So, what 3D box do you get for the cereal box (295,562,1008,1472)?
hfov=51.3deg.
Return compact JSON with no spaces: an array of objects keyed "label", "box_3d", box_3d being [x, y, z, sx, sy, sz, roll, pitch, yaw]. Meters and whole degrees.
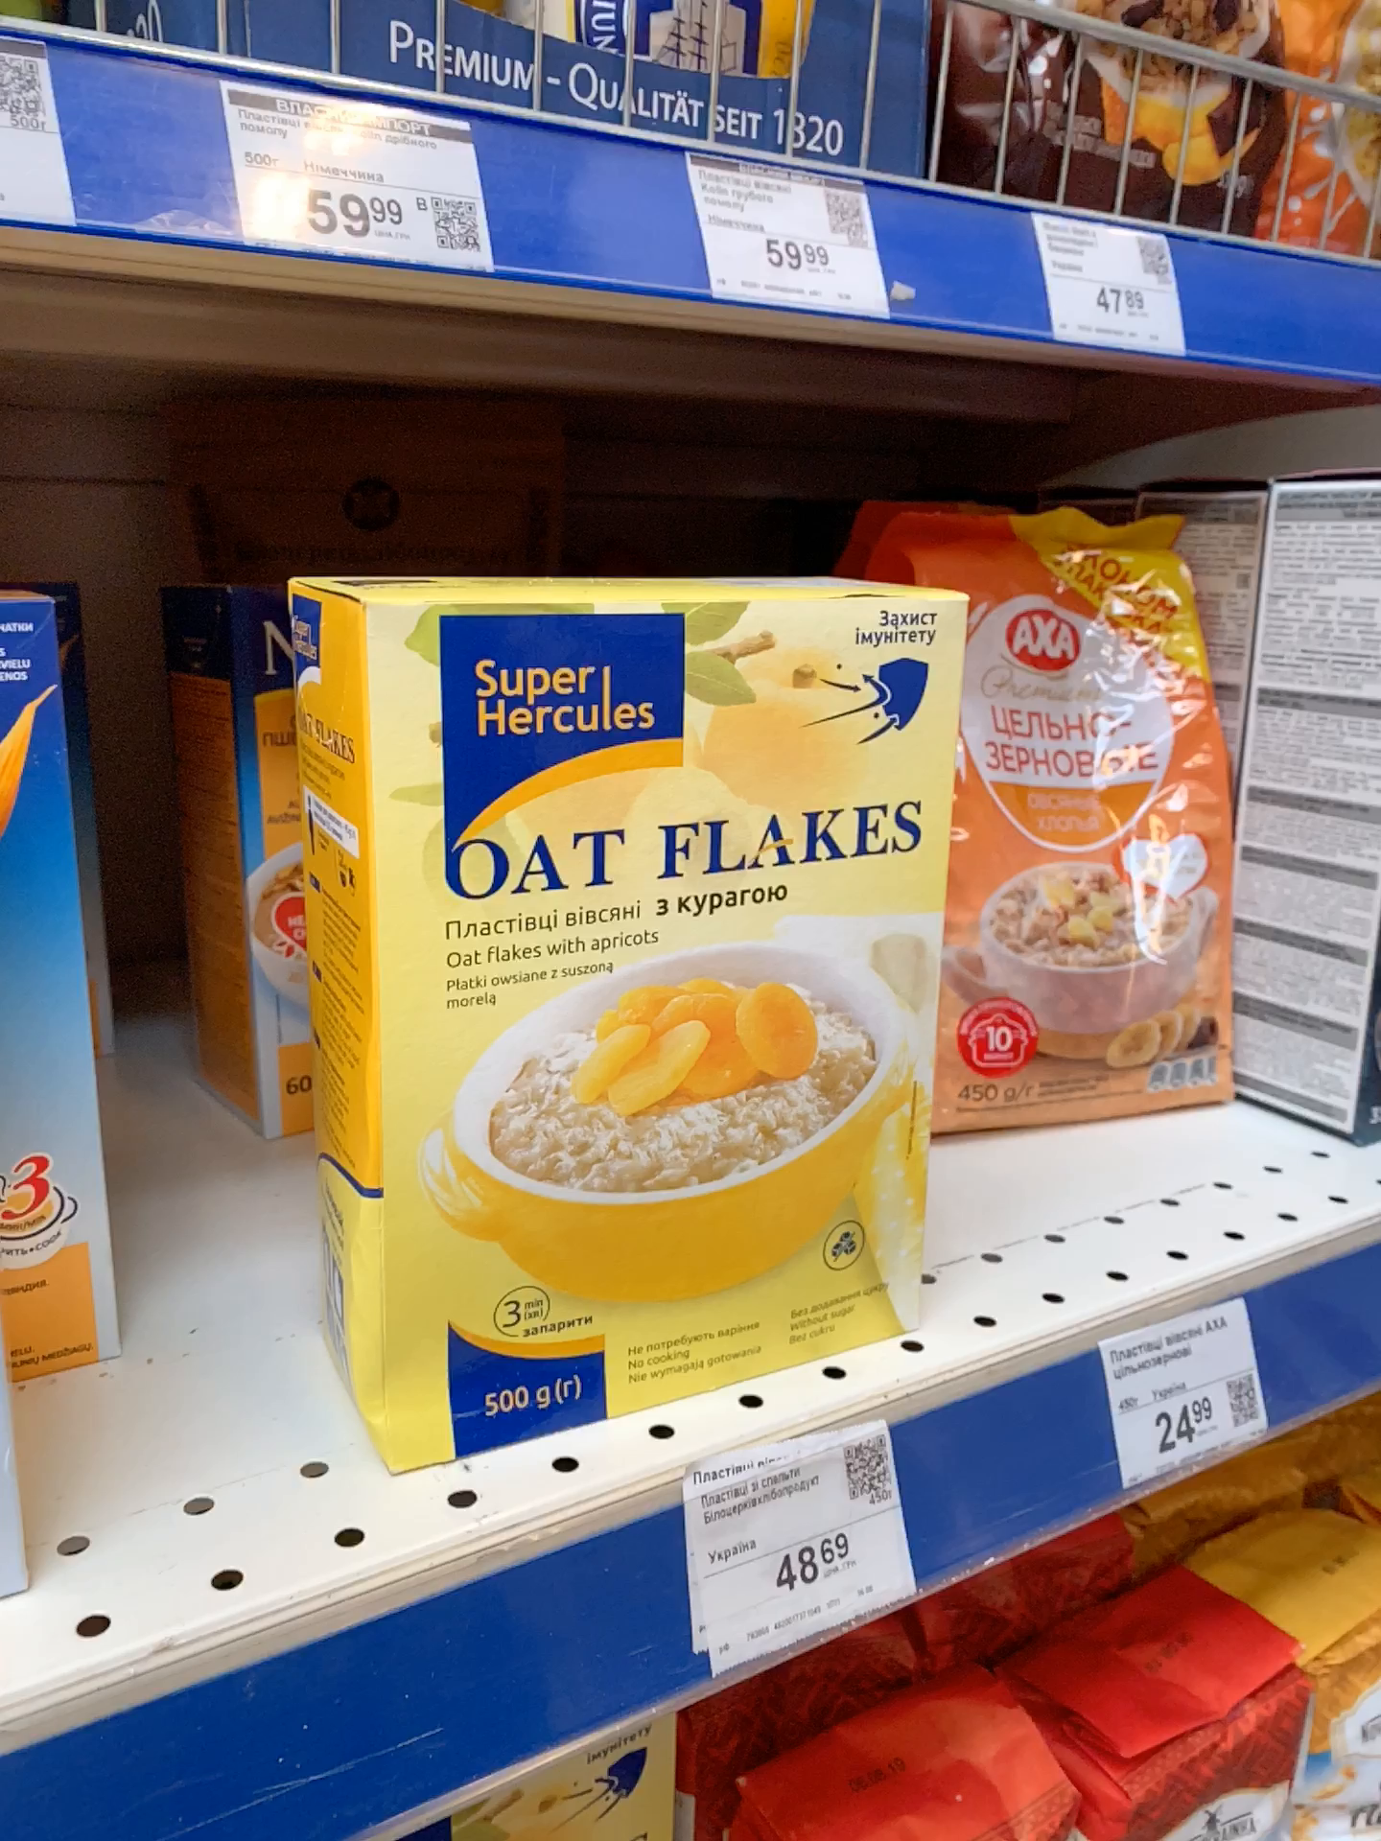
[{"label":"cereal box","box_3d":[-0.009,0.012,0.348,0.150,0.189,0.060,-6,16,-27]}]
